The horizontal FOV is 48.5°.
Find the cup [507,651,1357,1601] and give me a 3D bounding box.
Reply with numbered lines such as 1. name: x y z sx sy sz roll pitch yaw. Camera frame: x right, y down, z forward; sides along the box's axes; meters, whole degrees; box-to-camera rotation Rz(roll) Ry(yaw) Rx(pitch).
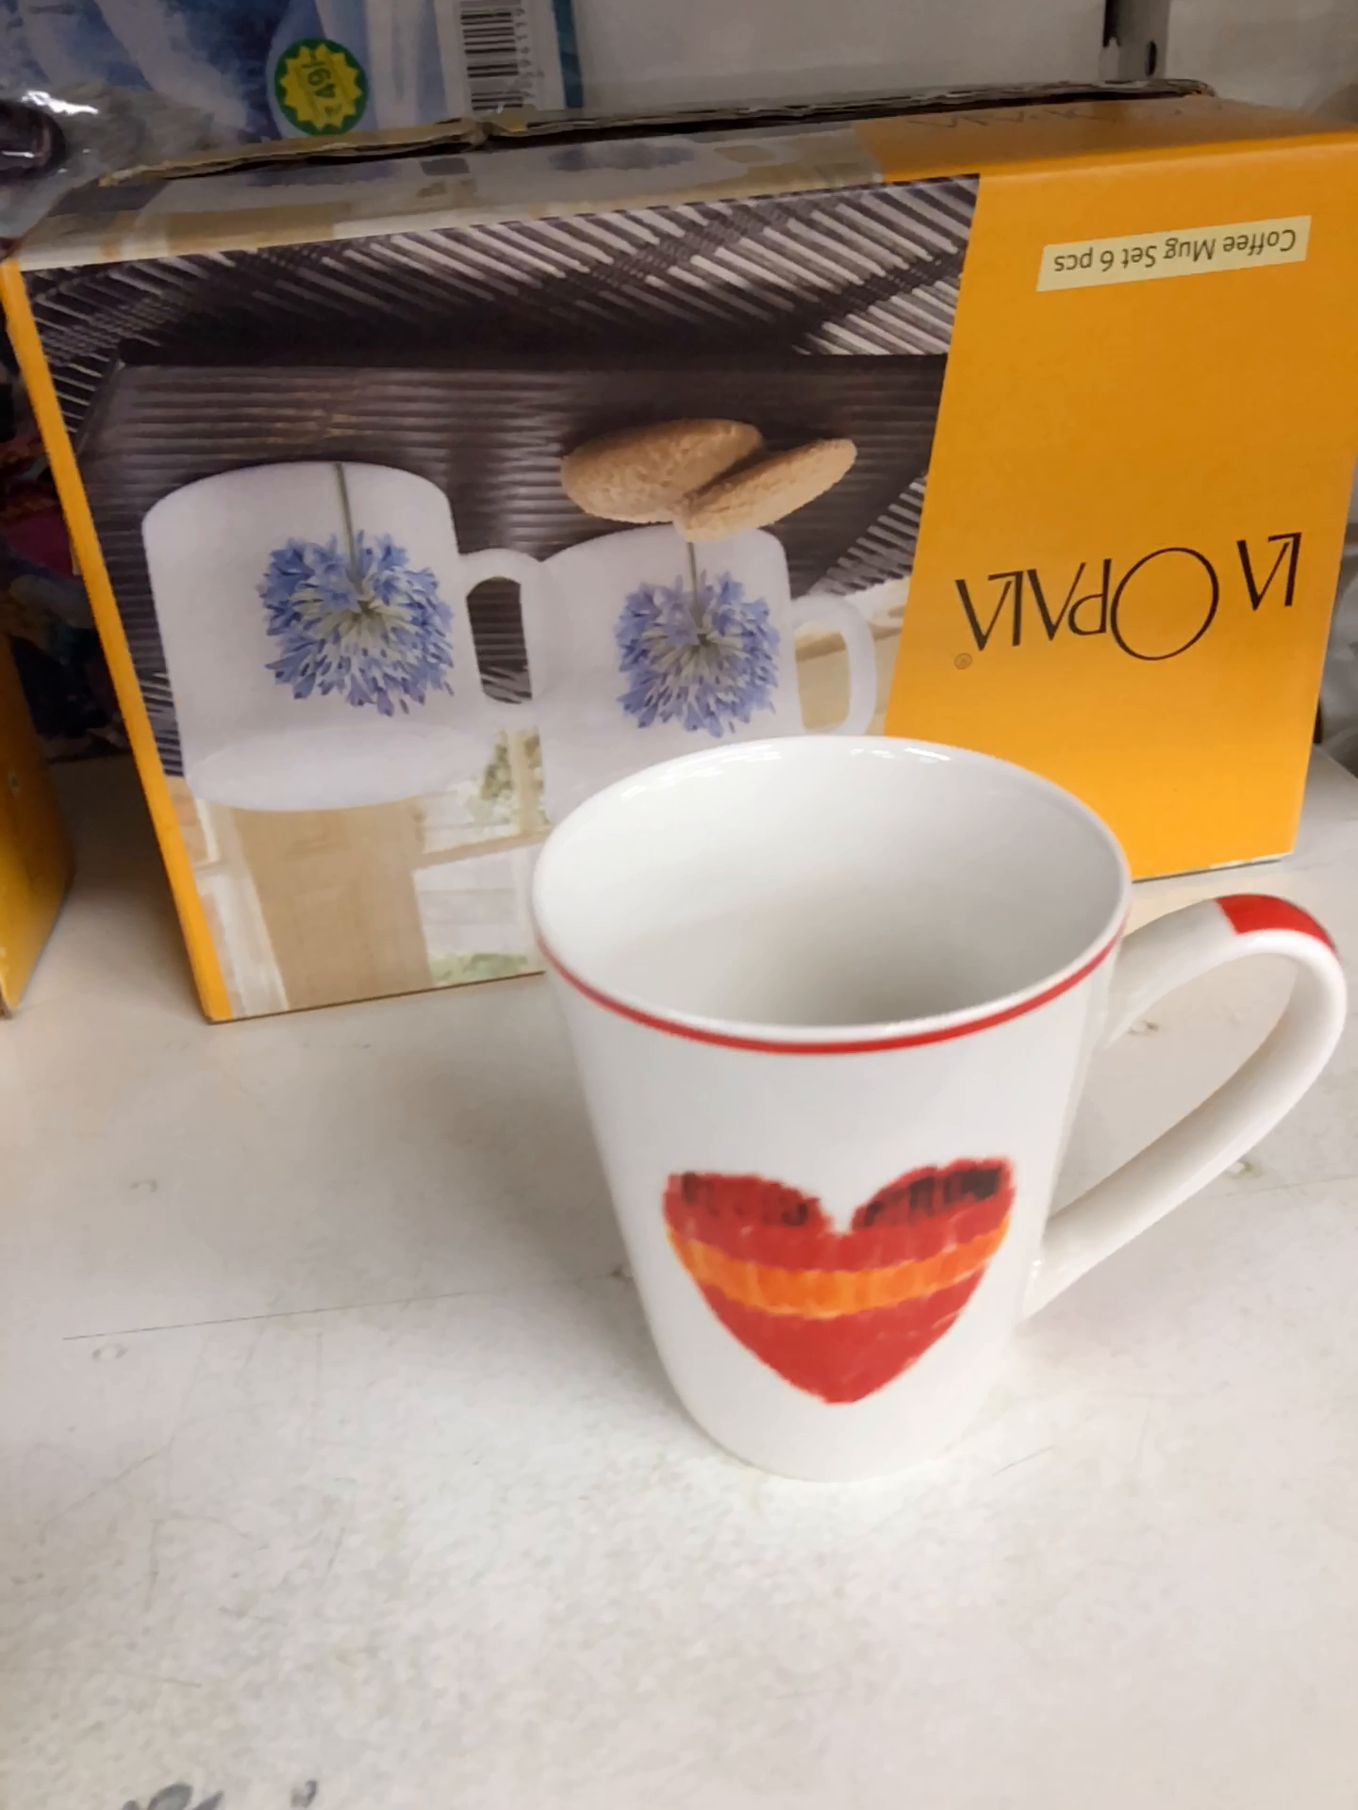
1. cup: 0.040 0.029 0.225 0.120 0.099 0.081 -6 32 -3
